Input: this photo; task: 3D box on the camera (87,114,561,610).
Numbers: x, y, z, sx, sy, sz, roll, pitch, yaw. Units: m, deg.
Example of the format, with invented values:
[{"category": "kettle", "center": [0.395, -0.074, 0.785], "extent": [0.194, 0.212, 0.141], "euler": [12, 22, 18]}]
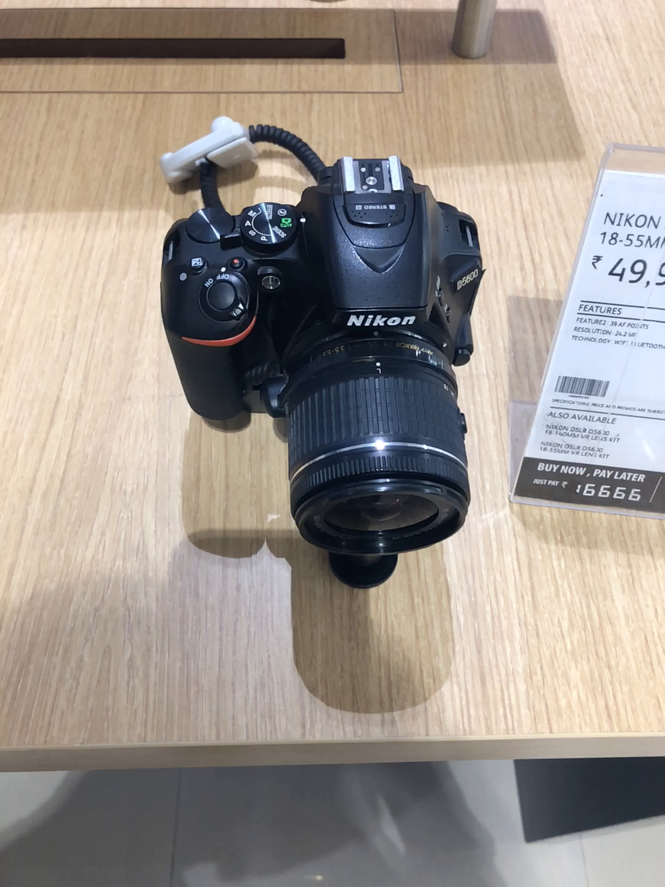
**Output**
[{"category": "camera", "center": [-0.006, -0.032, 0.287], "extent": [0.130, 0.100, 0.161], "euler": [-2, 59, -2]}]
